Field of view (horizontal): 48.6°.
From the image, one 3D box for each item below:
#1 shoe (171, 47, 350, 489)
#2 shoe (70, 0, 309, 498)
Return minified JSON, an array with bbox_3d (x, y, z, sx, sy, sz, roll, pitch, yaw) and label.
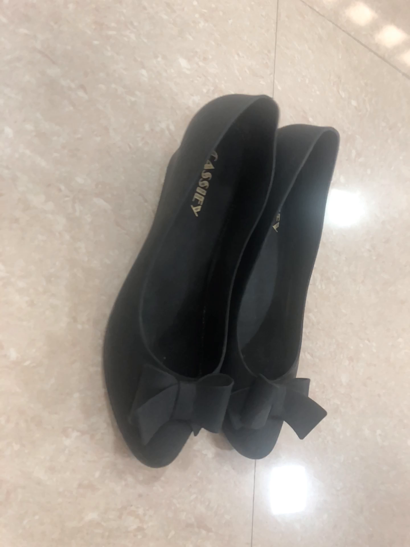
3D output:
[{"bbox_3d":[0.049,-0.005,0.375,0.090,0.090,0.310,11,79,-33],"label":"shoe"},{"bbox_3d":[-0.006,-0.017,0.331,0.090,0.090,0.310,17,76,-32],"label":"shoe"}]
